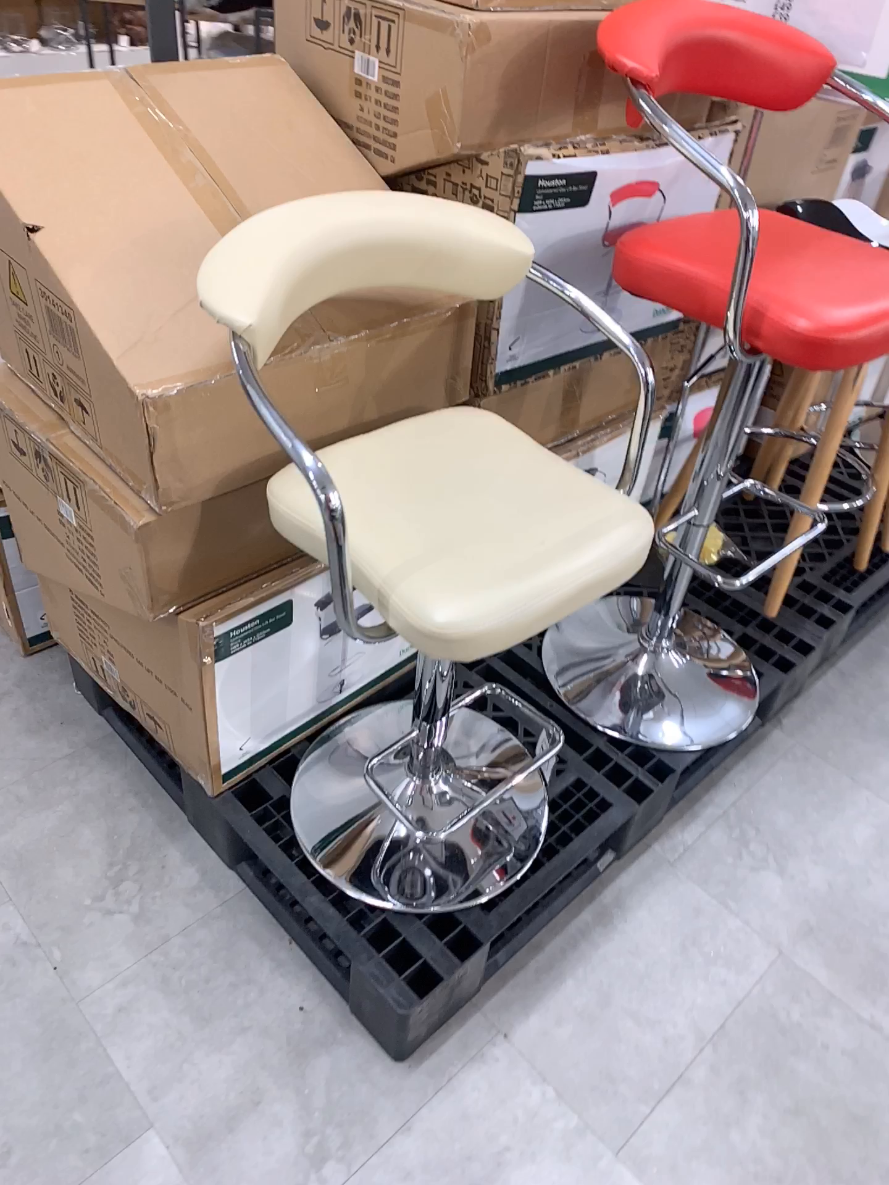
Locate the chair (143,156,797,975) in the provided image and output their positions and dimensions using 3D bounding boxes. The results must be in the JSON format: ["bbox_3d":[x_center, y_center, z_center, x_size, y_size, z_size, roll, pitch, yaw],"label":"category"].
[{"bbox_3d":[-0.008,-0.040,1.199,0.466,0.841,0.502,-28,49,-35],"label":"chair"}]

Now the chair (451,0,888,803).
[{"bbox_3d":[0.405,-0.286,1.449,0.476,1.058,0.522,-28,49,-35],"label":"chair"}]
